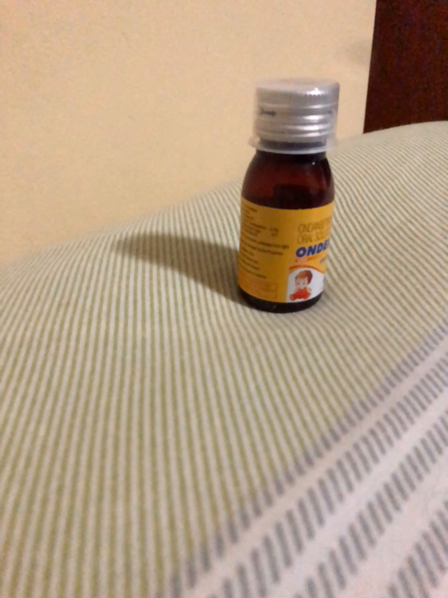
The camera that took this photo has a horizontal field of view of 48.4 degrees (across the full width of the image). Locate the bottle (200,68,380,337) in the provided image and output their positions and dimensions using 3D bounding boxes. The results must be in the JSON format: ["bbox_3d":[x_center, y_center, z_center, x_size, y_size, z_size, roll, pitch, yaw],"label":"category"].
[{"bbox_3d":[0.020,-0.036,0.177,0.040,0.080,0.040,0,29,0],"label":"bottle"}]
